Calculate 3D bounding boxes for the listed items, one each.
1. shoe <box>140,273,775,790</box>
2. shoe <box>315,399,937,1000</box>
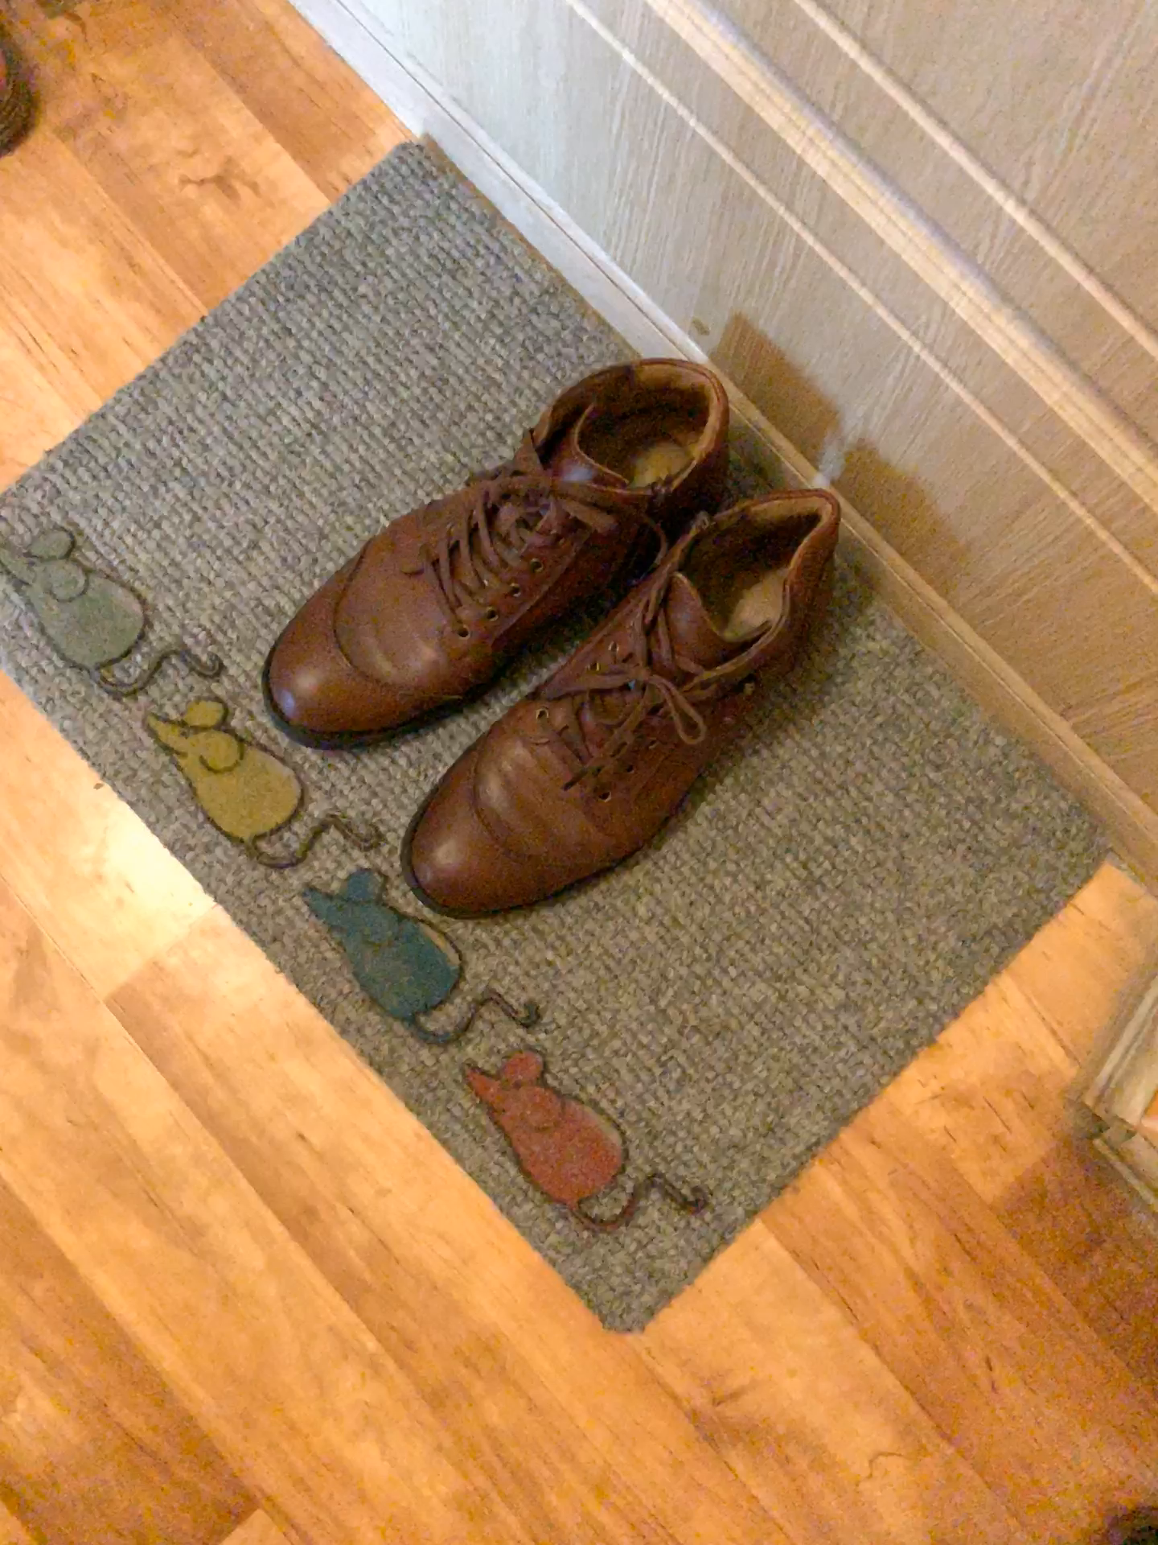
[{"bbox_3d":[-0.055,-0.109,0.593,0.260,0.140,0.110,-29,85,-5],"label":"shoe"},{"bbox_3d":[0.021,-0.028,0.583,0.270,0.140,0.110,-43,86,-6],"label":"shoe"}]
